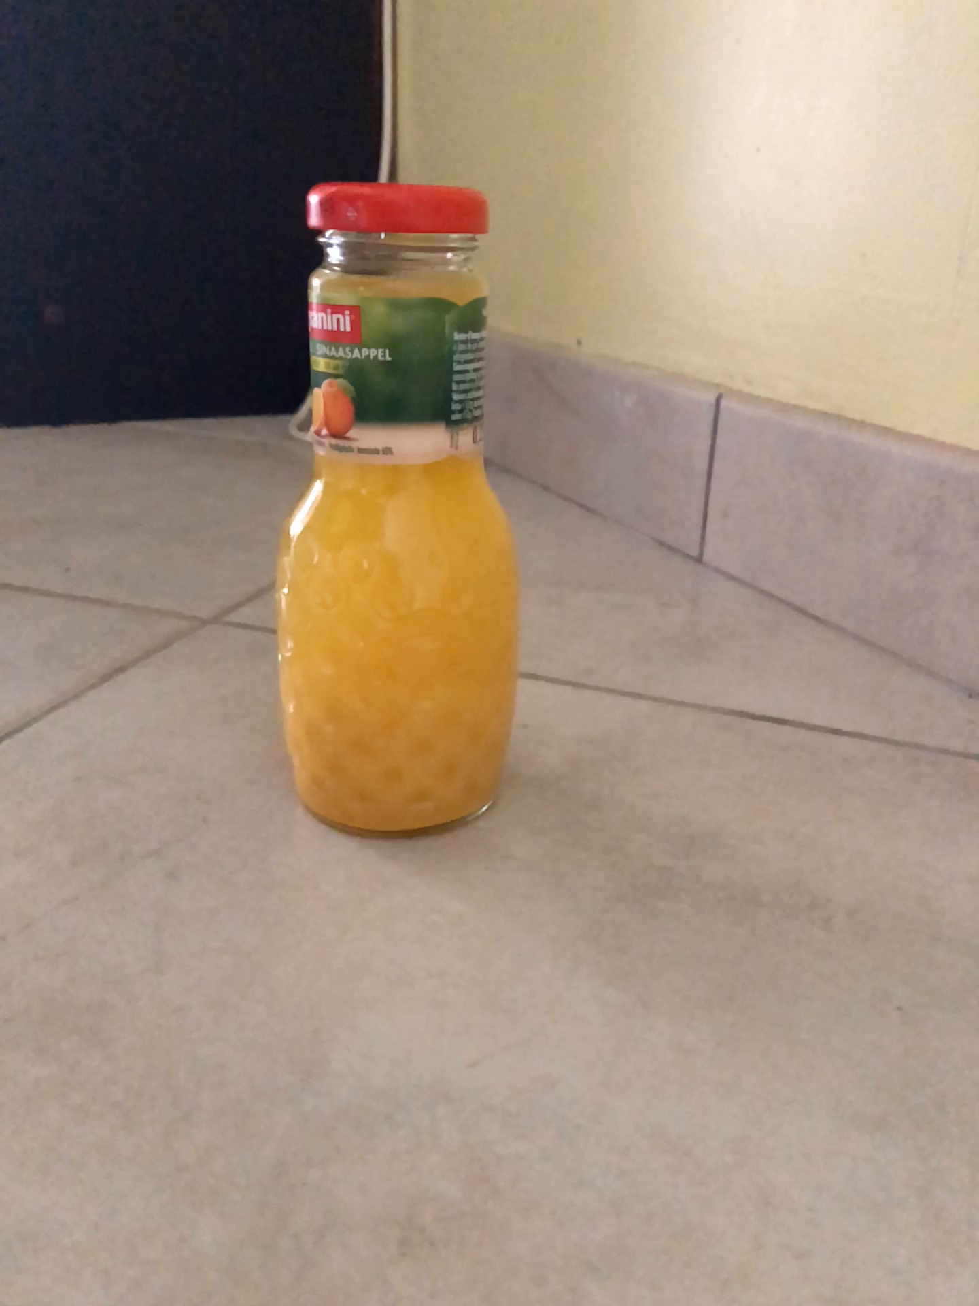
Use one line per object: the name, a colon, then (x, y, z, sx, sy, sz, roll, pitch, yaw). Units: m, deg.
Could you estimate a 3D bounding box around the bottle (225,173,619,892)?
bottle: (-0.019, -0.034, 0.276, 0.060, 0.159, 0.070, -15, 27, -35)
